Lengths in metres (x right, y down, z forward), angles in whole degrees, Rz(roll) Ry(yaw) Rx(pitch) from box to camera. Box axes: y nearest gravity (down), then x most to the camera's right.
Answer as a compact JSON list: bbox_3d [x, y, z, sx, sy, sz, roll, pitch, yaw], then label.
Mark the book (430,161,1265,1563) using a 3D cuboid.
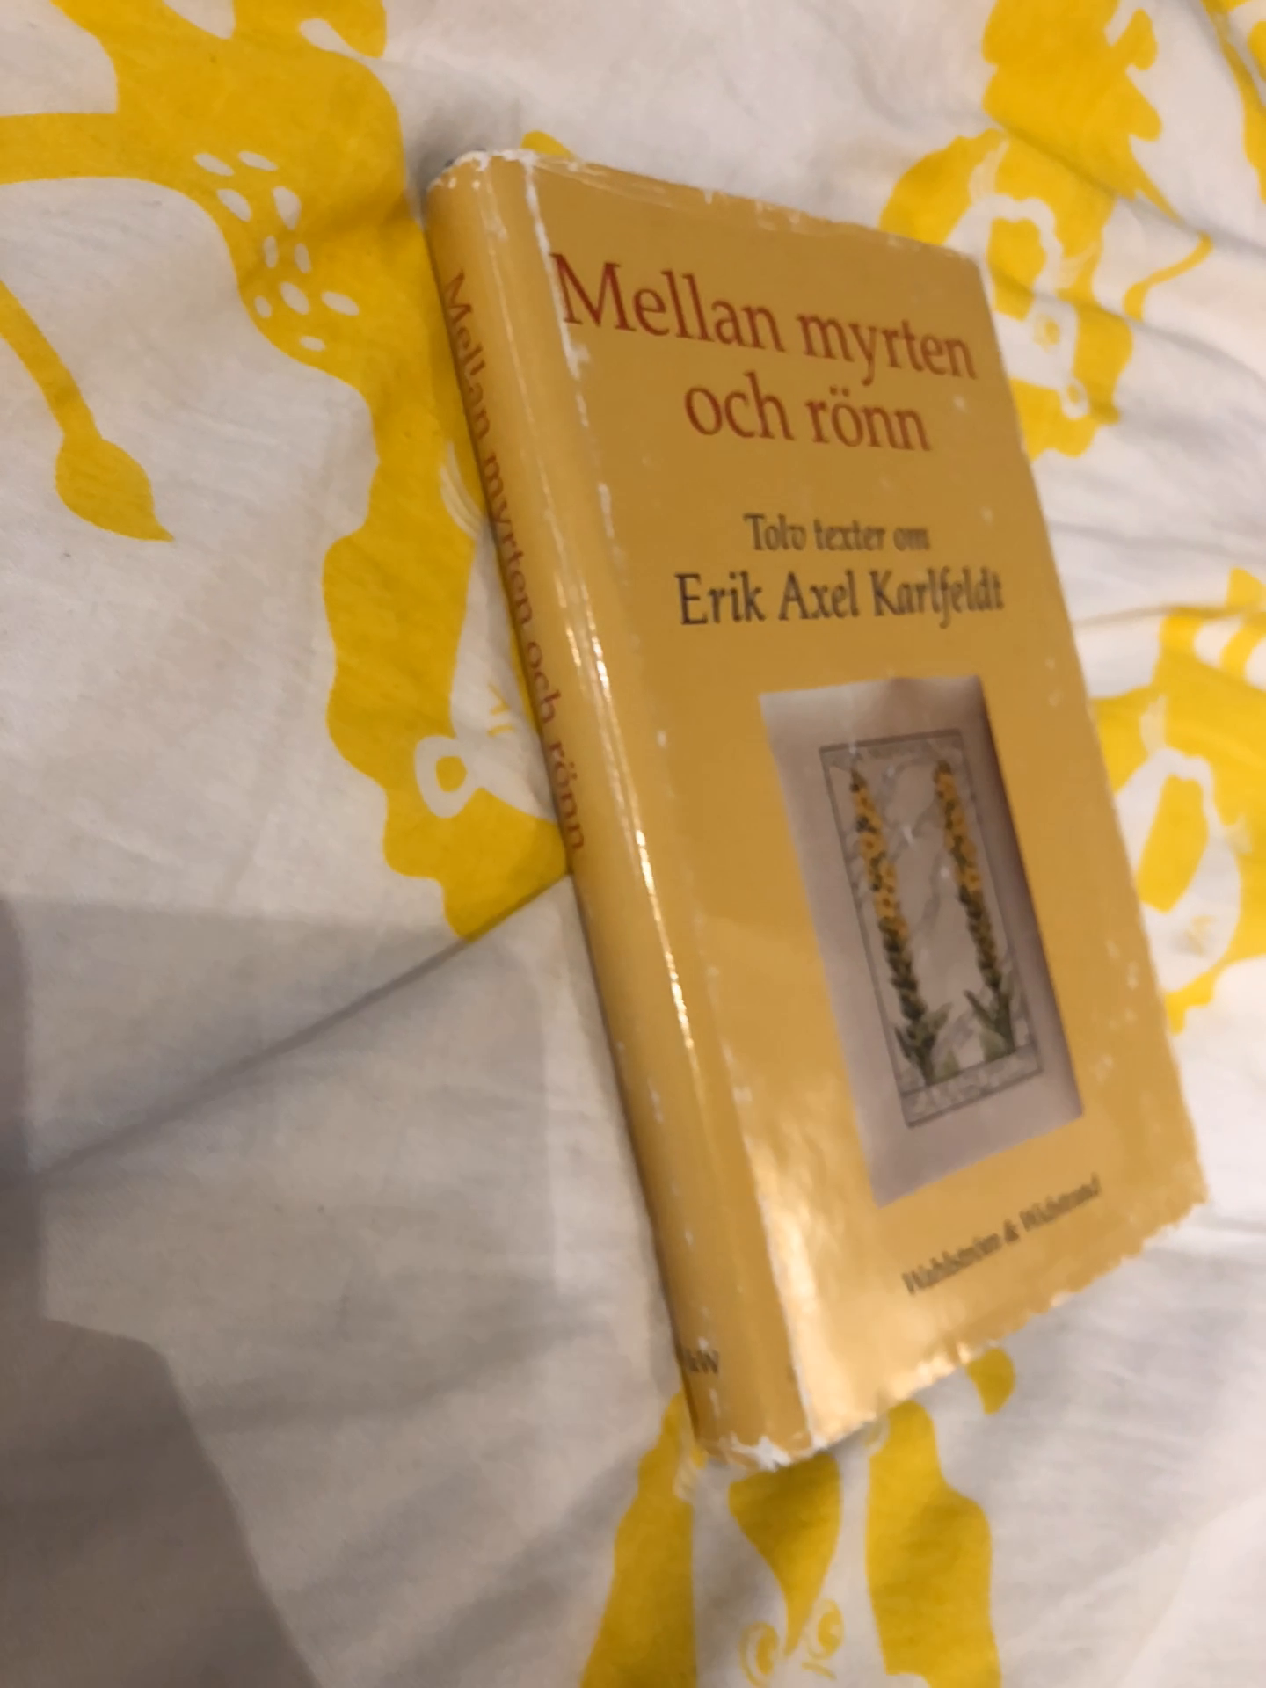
[{"bbox_3d":[0.051,-0.006,0.271,0.142,0.030,0.215,-8,83,-41],"label":"book"}]
